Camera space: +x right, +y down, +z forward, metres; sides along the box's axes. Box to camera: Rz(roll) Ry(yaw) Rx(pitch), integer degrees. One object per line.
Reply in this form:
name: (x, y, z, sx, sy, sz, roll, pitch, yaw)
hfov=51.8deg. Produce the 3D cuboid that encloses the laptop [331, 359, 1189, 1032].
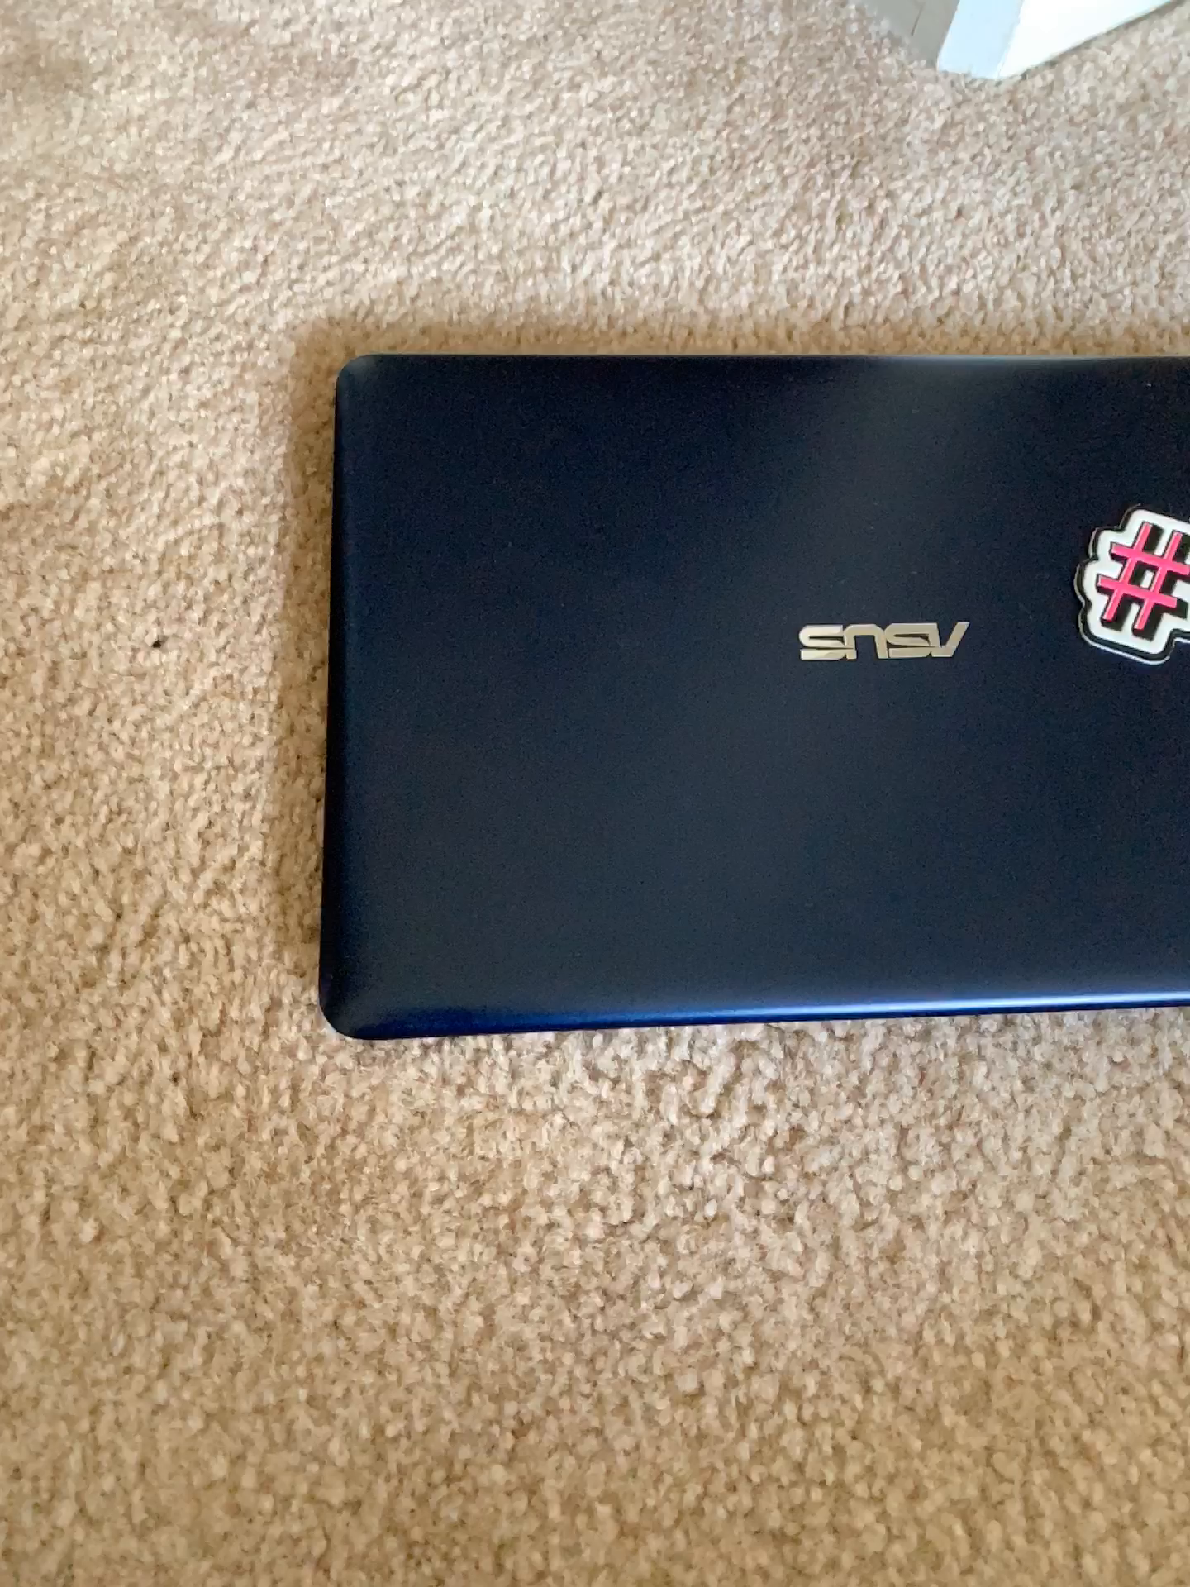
laptop: (0.071, -0.036, 0.318, 0.272, 0.006, 0.182, -2, 70, -5)
